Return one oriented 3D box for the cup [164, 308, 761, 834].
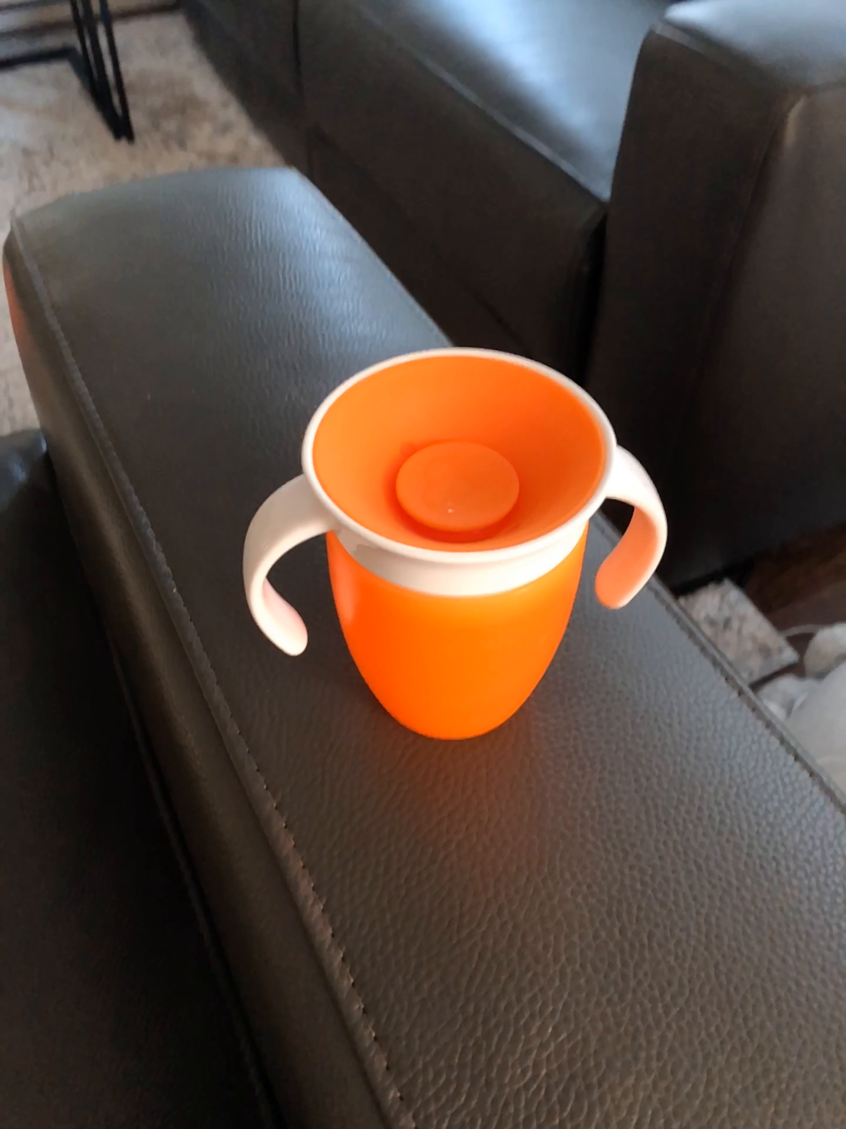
[{"bbox_3d":[0.004,0.001,0.264,0.126,0.096,0.082,-11,49,-11],"label":"cup"}]
